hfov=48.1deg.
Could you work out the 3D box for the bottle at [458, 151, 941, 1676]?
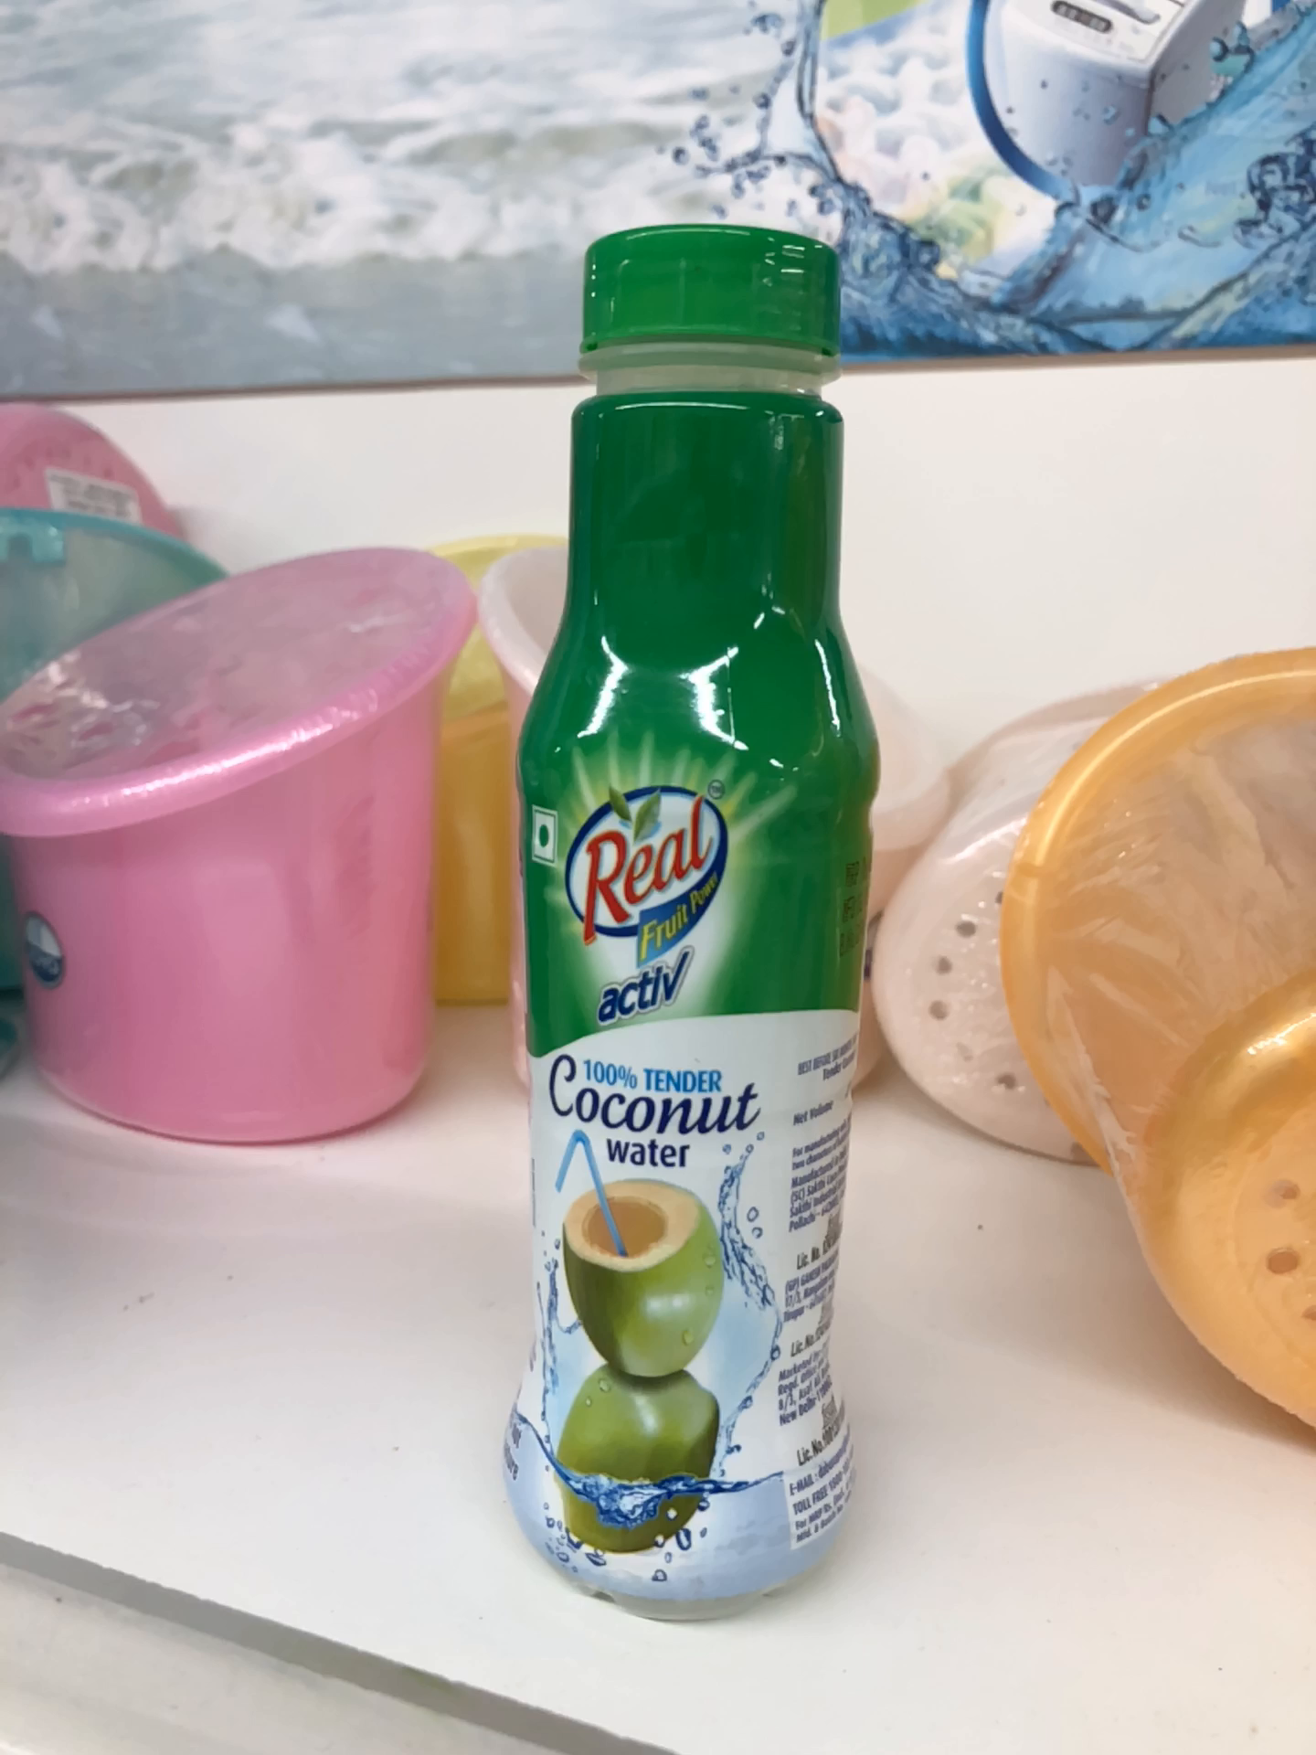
[{"bbox_3d":[0.006,0.007,0.198,0.050,0.179,0.050,1,12,0],"label":"bottle"}]
